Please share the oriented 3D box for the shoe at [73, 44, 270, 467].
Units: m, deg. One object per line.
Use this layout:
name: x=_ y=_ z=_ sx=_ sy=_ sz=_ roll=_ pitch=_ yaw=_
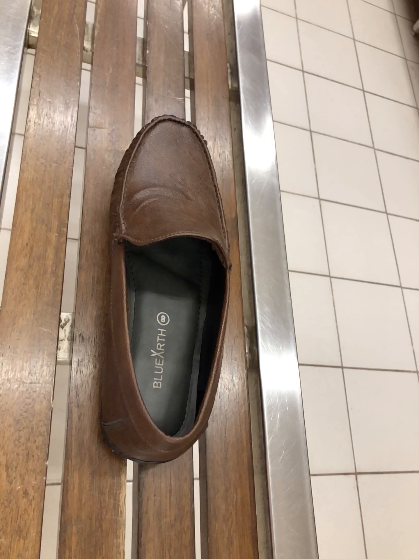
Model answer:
shoe: x=-0.029 y=-0.019 z=0.358 sx=0.104 sy=0.093 sz=0.302 roll=9 pitch=66 yaw=-20
